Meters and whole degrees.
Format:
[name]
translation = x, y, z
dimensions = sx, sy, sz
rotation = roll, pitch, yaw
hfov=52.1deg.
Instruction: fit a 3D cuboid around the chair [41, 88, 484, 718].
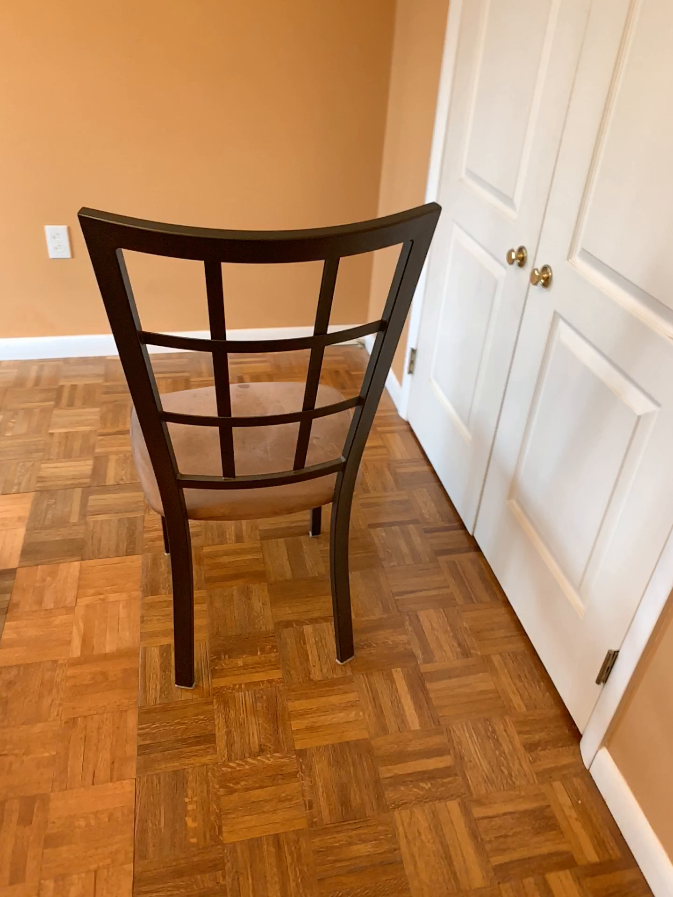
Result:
[chair]
translation = -0.166, -0.078, 1.328
dimensions = 0.510, 0.984, 0.624
rotation = -5, 38, -12
